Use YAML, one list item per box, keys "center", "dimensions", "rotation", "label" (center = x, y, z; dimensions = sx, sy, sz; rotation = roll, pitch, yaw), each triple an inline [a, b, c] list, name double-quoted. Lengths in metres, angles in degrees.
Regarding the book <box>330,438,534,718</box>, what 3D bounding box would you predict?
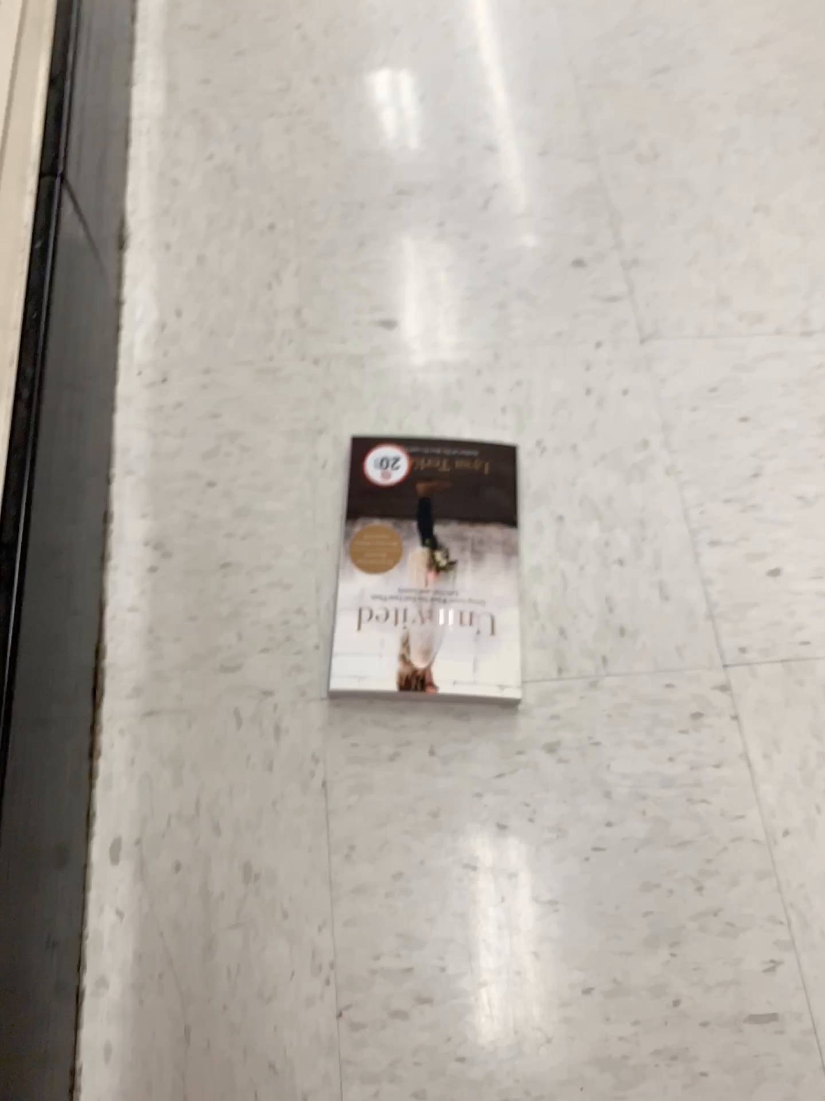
- center: [0.016, 0.016, 0.643]
  dimensions: [0.140, 0.030, 0.210]
  rotation: [2, 66, -1]
  label: "book"
